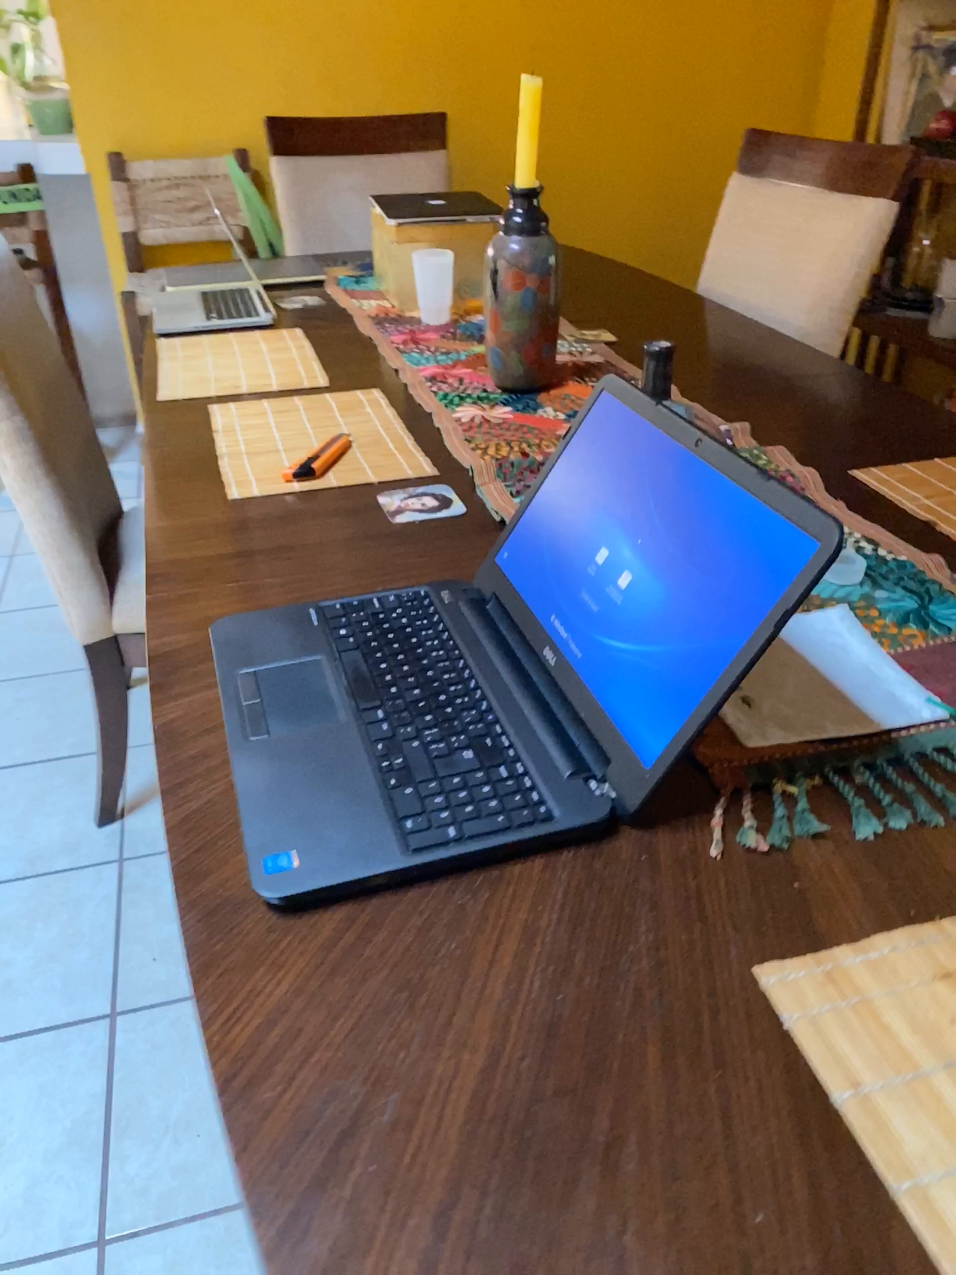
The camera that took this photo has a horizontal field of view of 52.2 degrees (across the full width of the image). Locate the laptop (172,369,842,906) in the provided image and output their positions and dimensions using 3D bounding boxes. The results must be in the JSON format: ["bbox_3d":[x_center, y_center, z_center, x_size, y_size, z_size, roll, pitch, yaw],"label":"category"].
[{"bbox_3d":[-0.012,-0.041,0.770,0.395,0.194,0.369,-11,33,-15],"label":"laptop"}]
